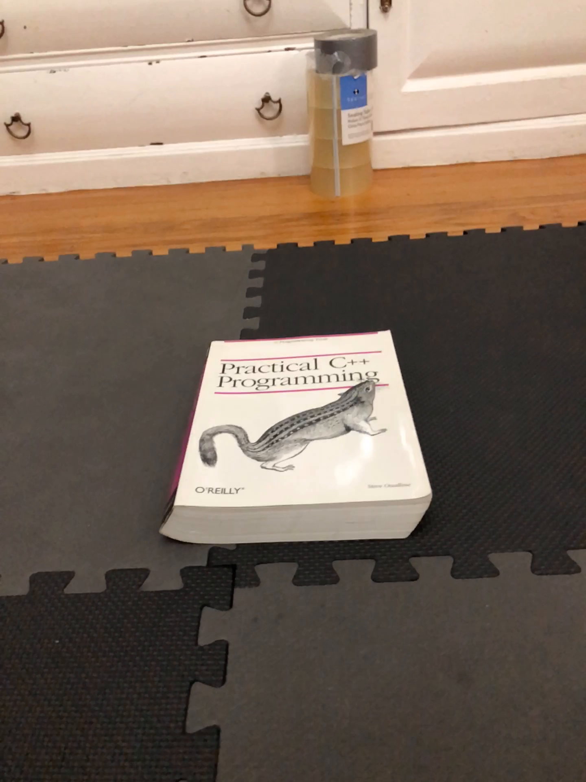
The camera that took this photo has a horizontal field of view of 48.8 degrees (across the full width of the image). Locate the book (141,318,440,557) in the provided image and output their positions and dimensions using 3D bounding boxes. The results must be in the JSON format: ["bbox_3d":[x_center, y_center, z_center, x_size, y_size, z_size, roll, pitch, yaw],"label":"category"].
[{"bbox_3d":[-0.001,0.023,0.549,0.200,0.050,0.252,2,35,-1],"label":"book"}]
